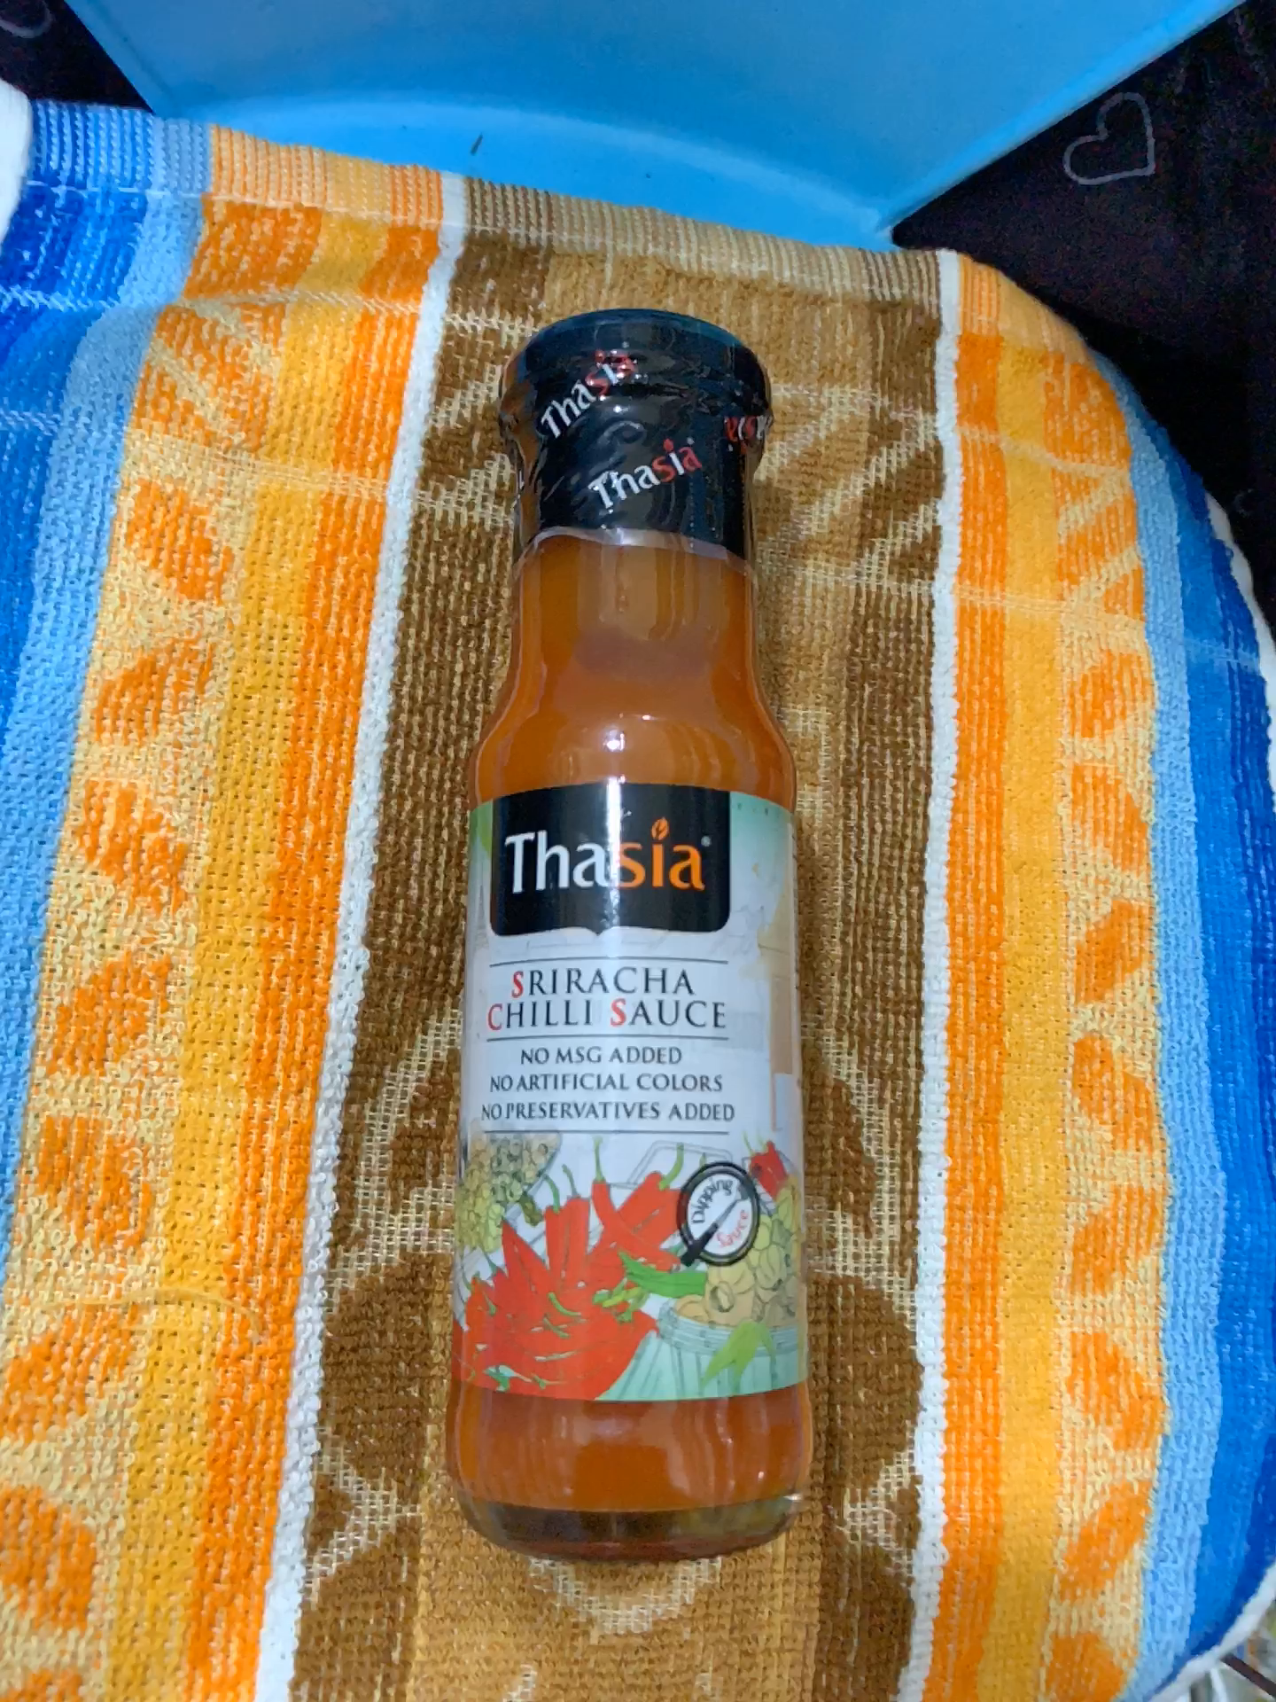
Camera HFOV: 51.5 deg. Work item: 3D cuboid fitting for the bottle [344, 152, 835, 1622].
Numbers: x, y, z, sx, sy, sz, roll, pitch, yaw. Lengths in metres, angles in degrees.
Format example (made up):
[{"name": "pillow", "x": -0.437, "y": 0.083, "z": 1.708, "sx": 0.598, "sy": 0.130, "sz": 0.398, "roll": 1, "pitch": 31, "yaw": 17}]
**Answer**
[{"name": "bottle", "x": -0.003, "y": -0.002, "z": 0.183, "sx": 0.050, "sy": 0.050, "sz": 0.180, "roll": 0, "pitch": 74, "yaw": 3}]
